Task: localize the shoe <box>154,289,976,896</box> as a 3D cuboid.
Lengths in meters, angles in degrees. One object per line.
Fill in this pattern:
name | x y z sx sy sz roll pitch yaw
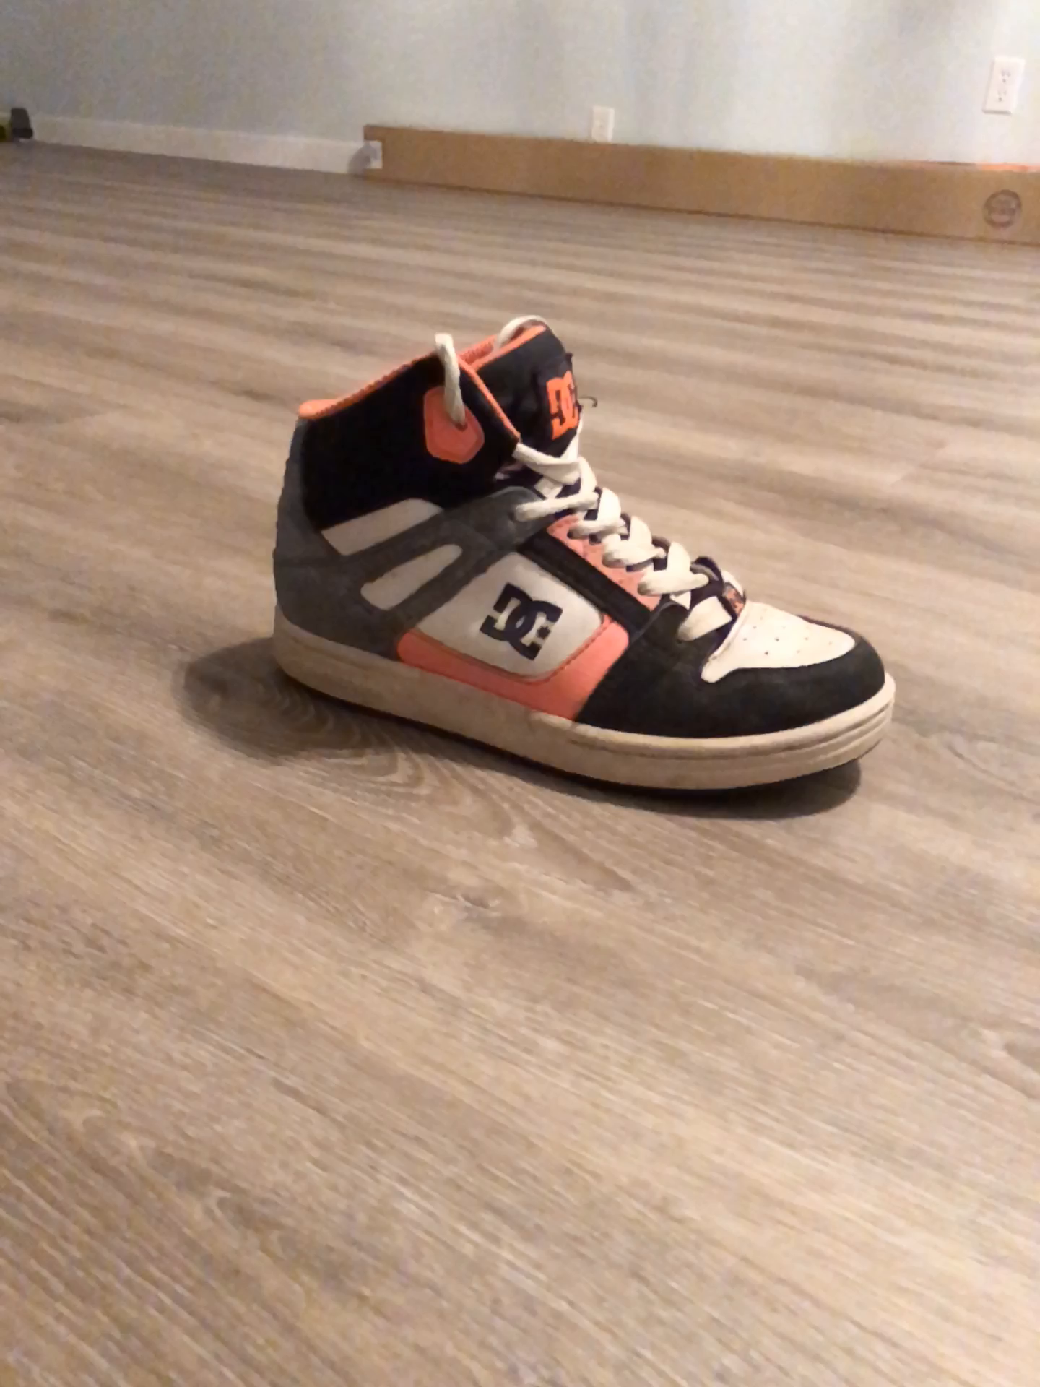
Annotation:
shoe | 0.009 -0.047 0.388 0.240 0.139 0.090 13 27 19
